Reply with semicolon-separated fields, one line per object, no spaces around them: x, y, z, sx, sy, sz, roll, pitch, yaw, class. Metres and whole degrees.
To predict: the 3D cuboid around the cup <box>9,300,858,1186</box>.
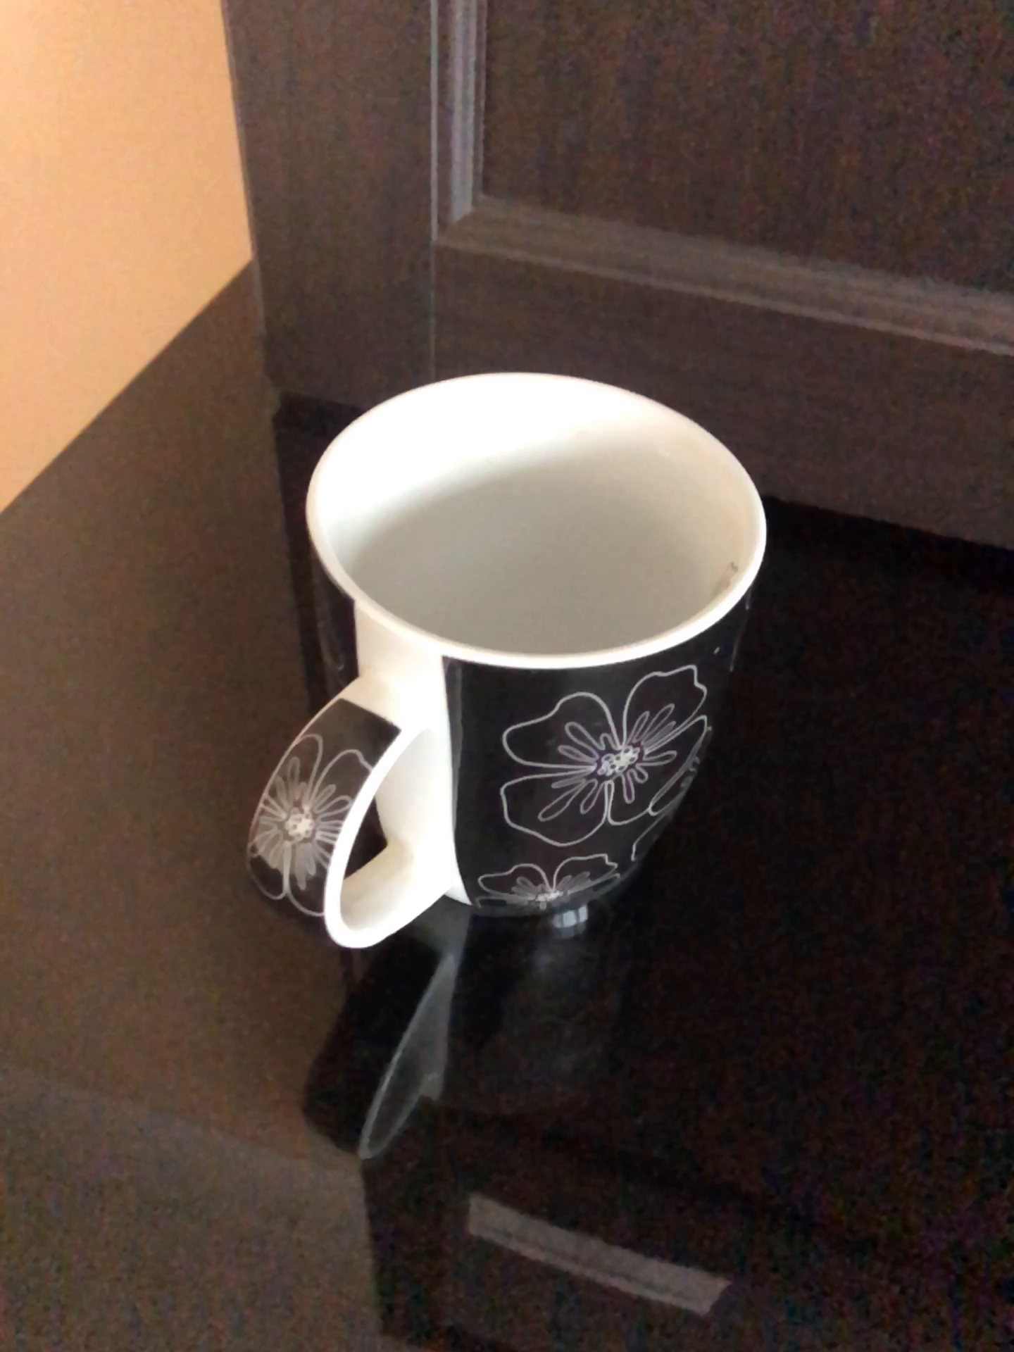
-0.006;0.005;0.221;0.090;0.089;0.121;25;50;19;cup
